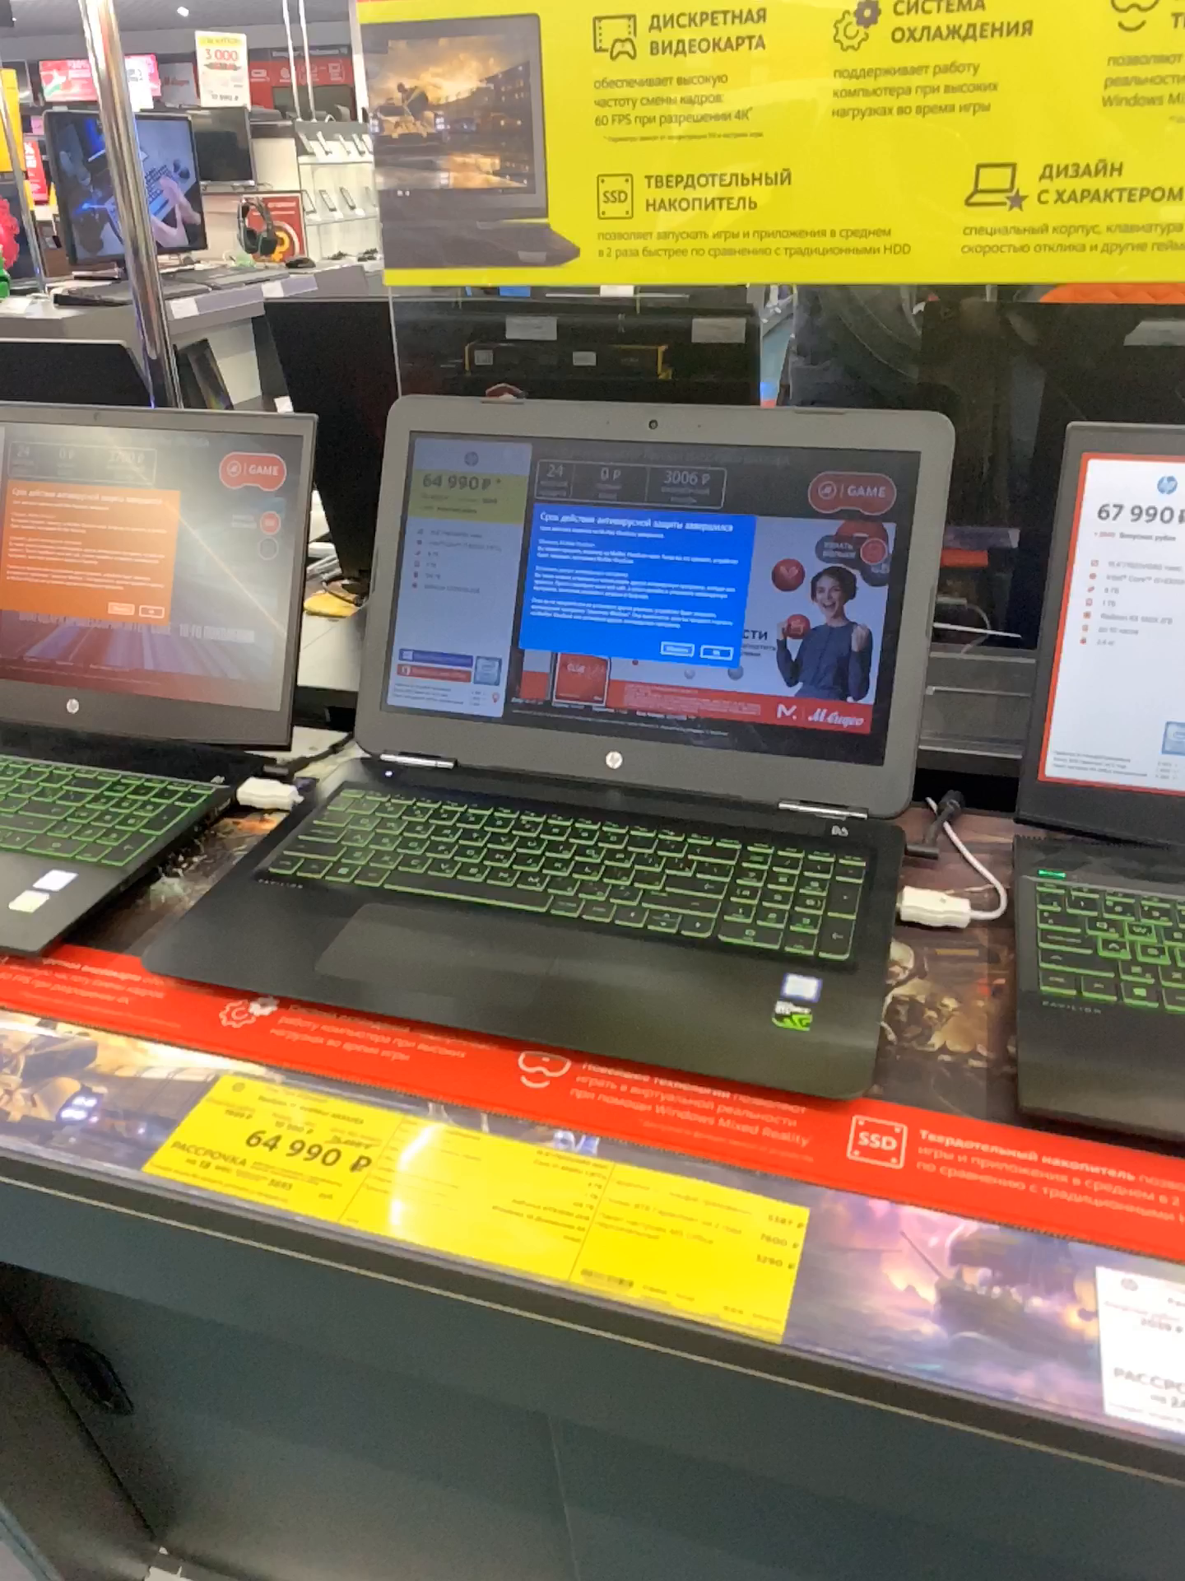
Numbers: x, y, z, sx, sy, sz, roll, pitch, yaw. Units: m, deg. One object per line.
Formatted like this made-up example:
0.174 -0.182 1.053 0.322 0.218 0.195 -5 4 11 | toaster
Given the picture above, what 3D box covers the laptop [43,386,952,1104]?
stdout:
-0.008 -0.074 0.697 0.384 0.223 0.381 7 30 15 | laptop
